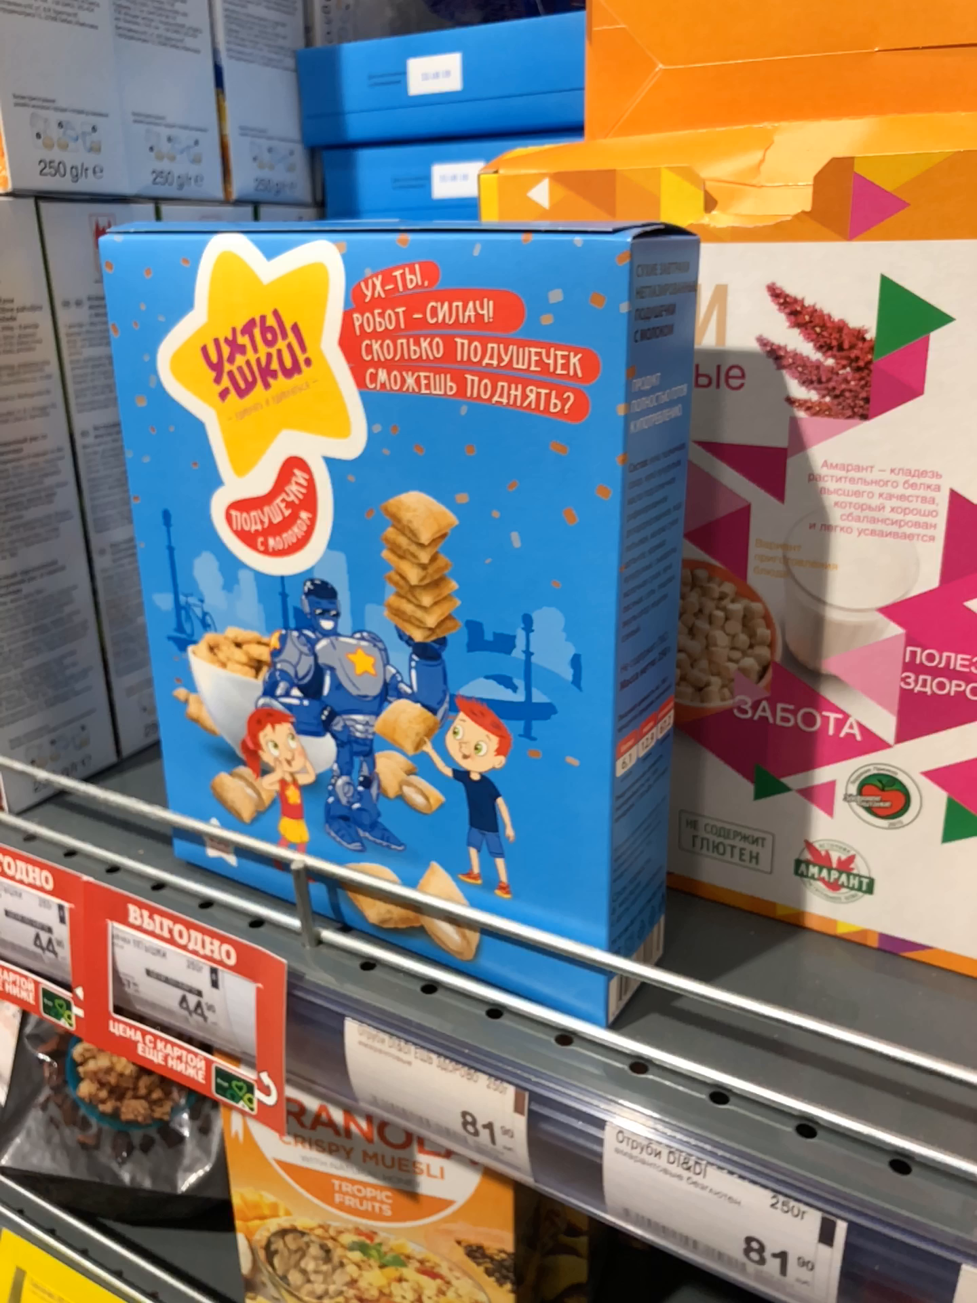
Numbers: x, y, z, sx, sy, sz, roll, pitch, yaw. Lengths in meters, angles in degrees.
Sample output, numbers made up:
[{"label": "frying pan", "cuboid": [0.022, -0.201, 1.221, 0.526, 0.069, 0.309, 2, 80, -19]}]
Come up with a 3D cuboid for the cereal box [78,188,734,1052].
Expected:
[{"label": "cereal box", "cuboid": [-0.031, -0.018, 0.357, 0.200, 0.239, 0.050, 12, 24, 31]}]
